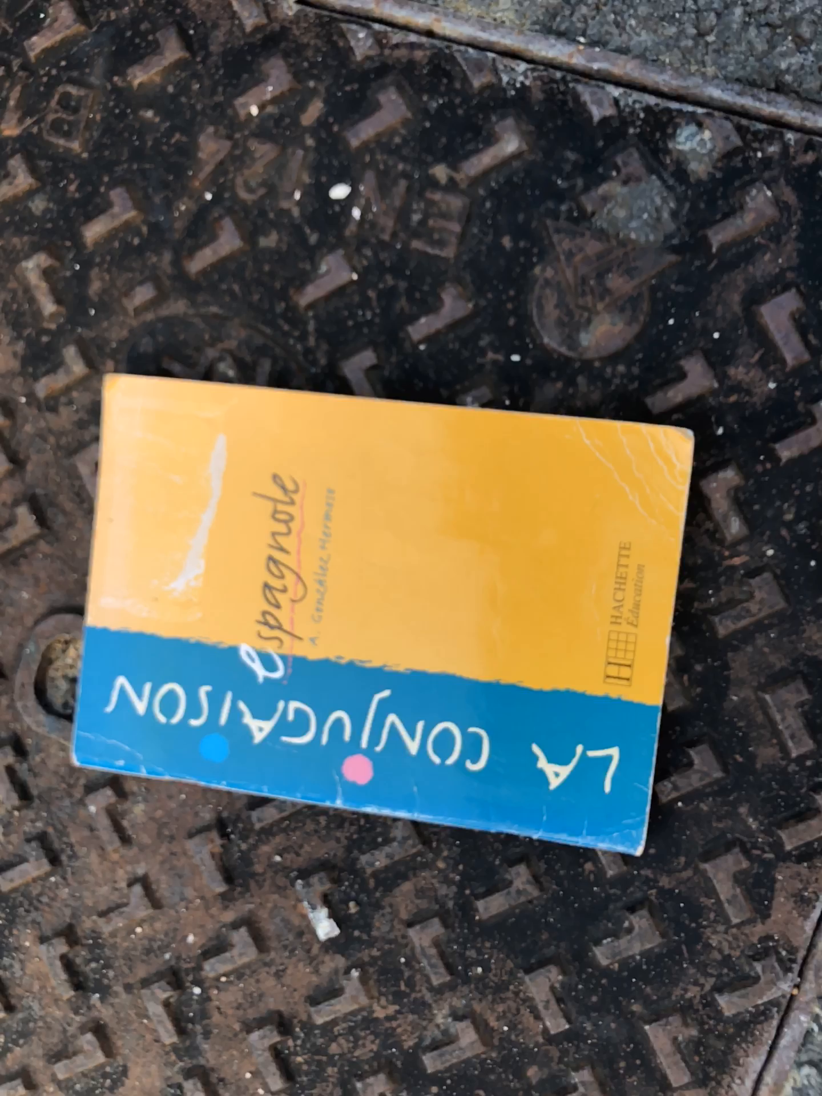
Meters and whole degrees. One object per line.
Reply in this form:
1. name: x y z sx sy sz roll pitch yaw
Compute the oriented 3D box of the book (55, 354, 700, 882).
1. book: -0.014 0.018 0.292 0.187 0.017 0.140 7 91 8
